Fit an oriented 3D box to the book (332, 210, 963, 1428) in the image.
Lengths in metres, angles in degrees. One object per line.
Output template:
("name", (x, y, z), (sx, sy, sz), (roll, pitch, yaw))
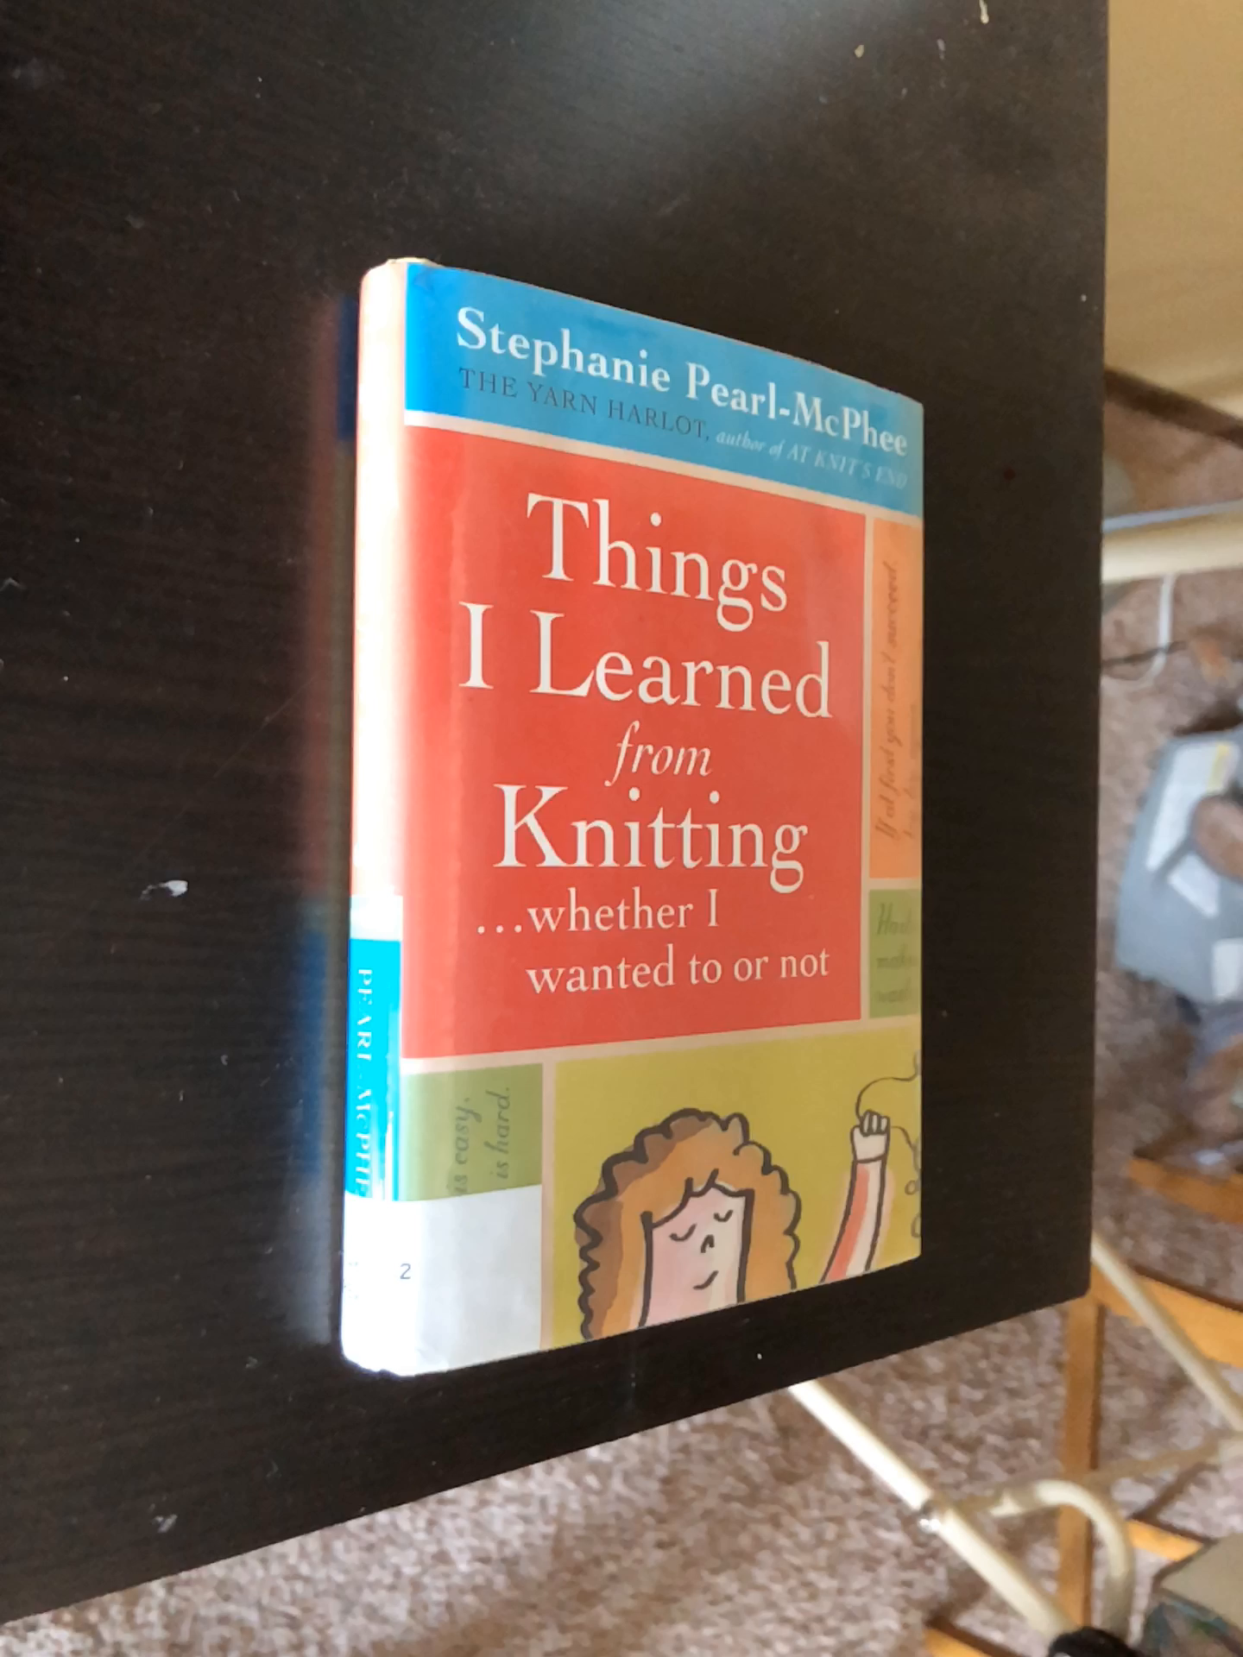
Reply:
("book", (0.011, -0.001, 0.235), (0.118, 0.023, 0.166), (1, 89, -38))
